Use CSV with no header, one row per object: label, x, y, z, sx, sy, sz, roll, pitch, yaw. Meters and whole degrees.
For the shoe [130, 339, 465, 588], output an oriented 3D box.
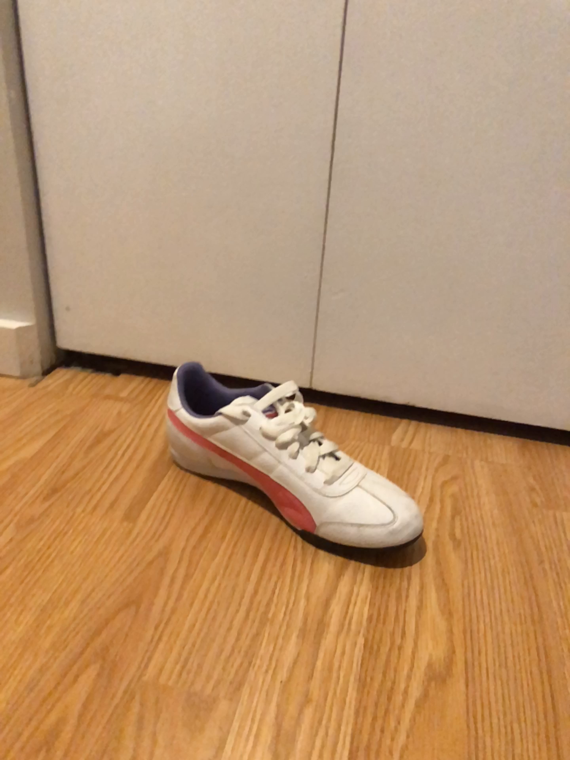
shoe,0.001,0.054,0.529,0.260,0.080,0.100,21,32,29
